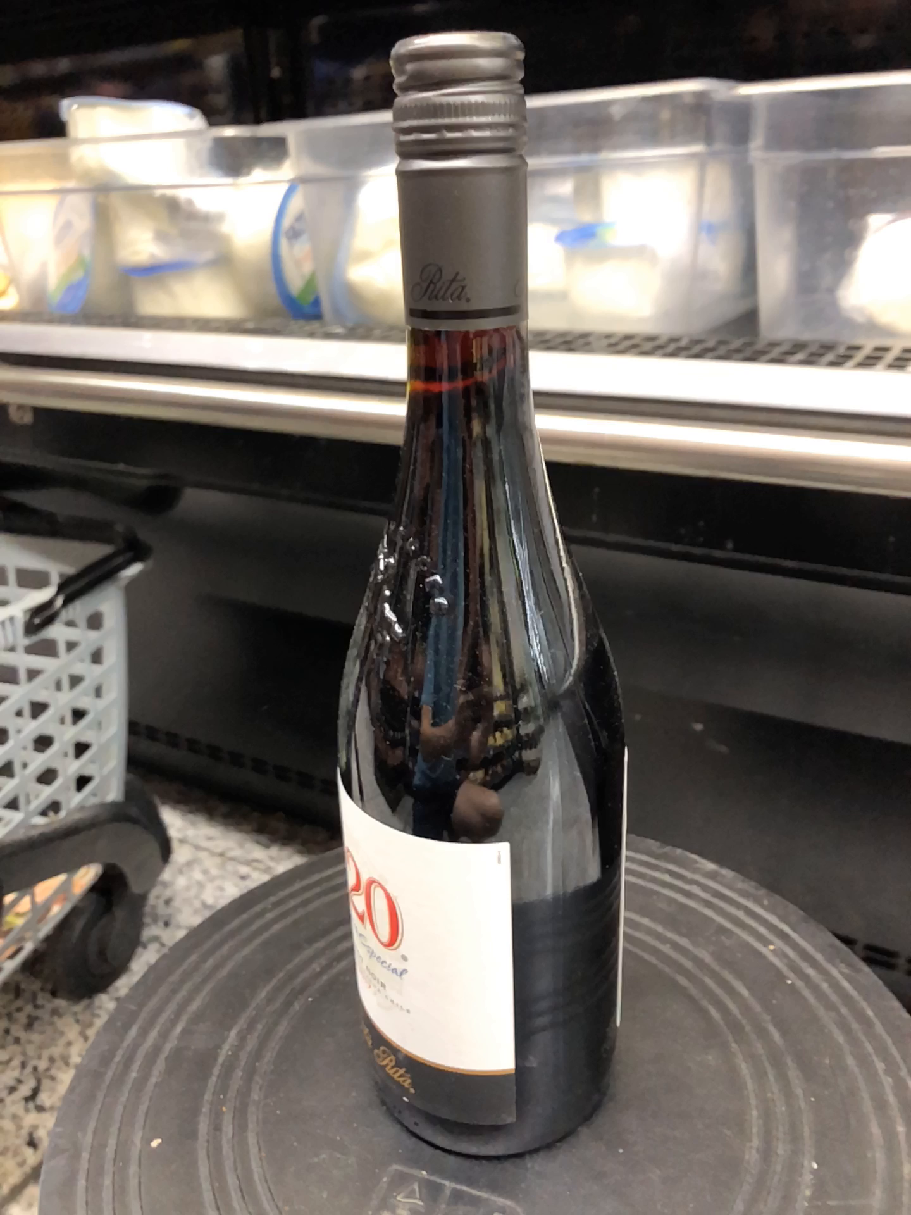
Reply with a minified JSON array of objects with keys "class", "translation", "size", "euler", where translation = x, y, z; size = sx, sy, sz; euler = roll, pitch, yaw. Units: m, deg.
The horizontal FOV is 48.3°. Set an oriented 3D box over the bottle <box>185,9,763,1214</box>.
[{"class":"bottle","translation":[0.005,0.014,0.268],"size":[0.090,0.288,0.090],"euler":[-3,23,1]}]
